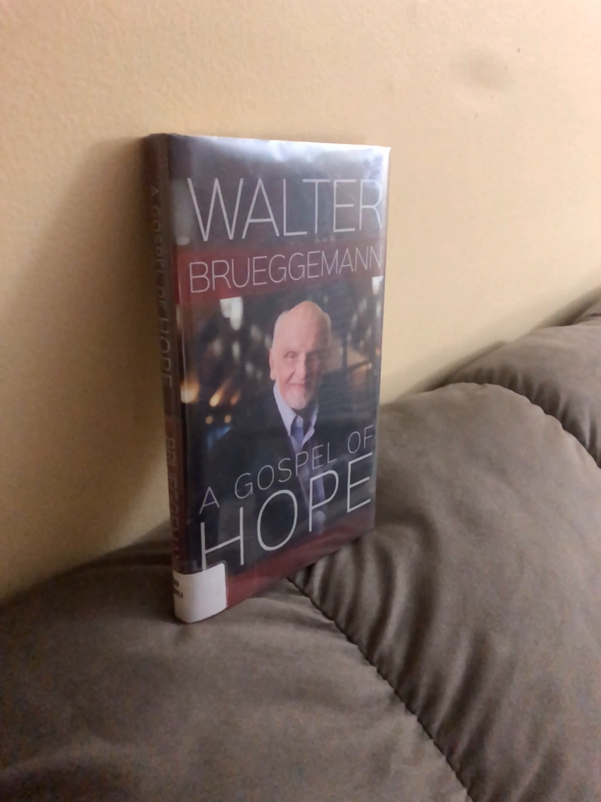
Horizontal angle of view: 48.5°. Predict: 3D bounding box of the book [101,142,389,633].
[{"bbox_3d":[-0.013,-0.013,0.327,0.141,0.210,0.027,-18,24,-40],"label":"book"}]
